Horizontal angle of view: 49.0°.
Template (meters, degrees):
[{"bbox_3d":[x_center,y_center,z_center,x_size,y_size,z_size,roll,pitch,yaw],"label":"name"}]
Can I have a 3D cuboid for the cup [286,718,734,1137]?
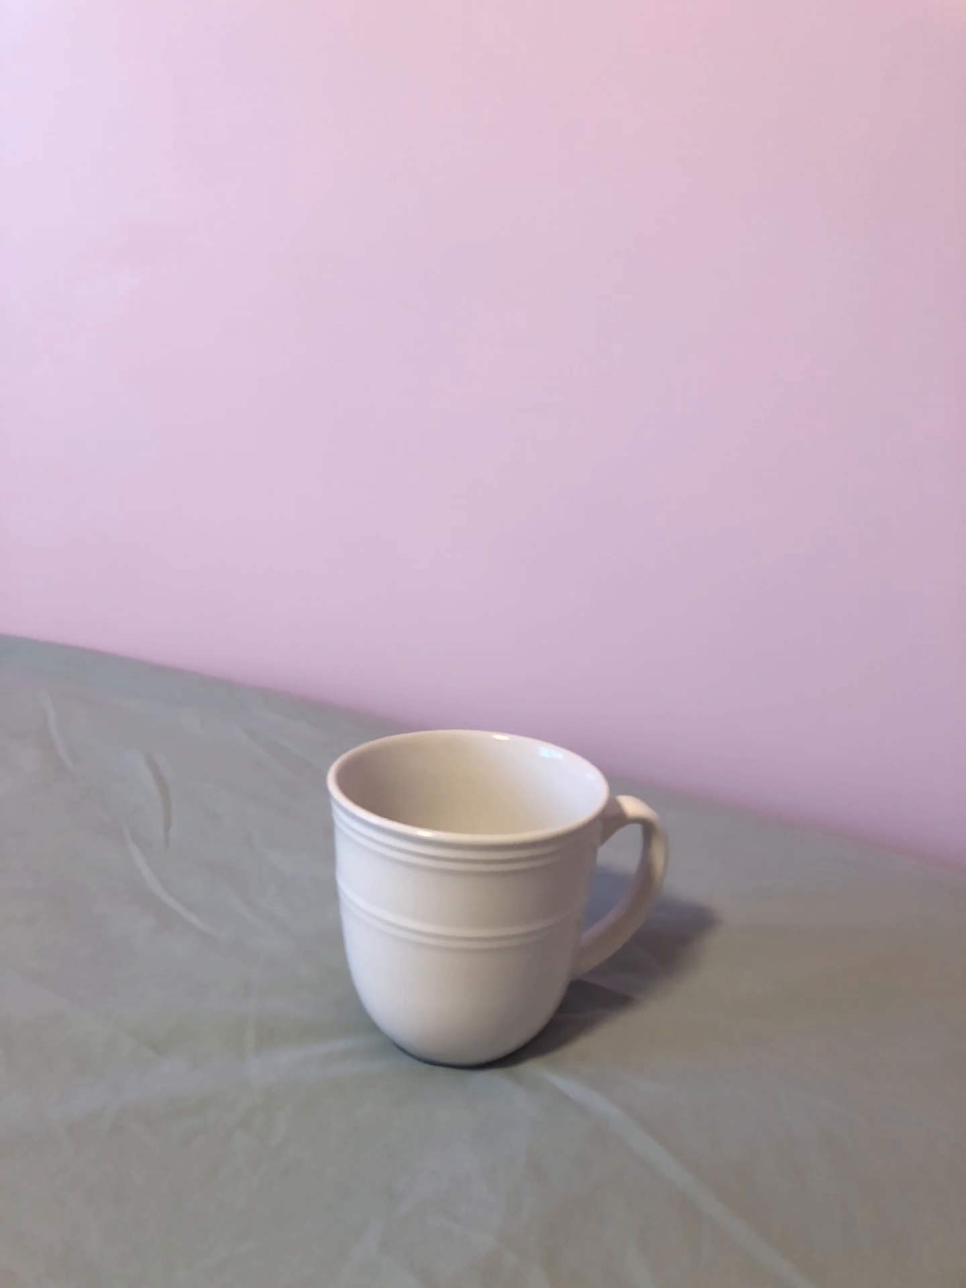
[{"bbox_3d":[0.003,0.097,0.403,0.140,0.100,0.100,-3,16,-17],"label":"cup"}]
